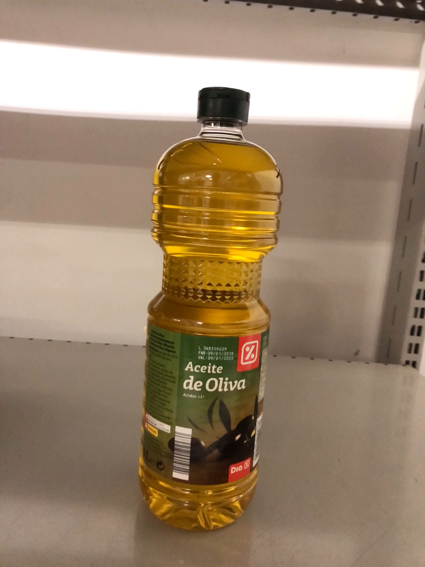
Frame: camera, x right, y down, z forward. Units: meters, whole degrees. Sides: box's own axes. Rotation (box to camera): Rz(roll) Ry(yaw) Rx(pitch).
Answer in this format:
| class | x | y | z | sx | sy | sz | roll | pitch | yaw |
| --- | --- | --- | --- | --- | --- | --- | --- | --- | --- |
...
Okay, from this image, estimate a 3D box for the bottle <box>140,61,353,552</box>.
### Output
| class | x | y | z | sx | sy | sz | roll | pitch | yaw |
| --- | --- | --- | --- | --- | --- | --- | --- | --- | --- |
| bottle | 0.011 | 0.017 | 0.273 | 0.080 | 0.249 | 0.060 | 2 | 12 | -19 |
